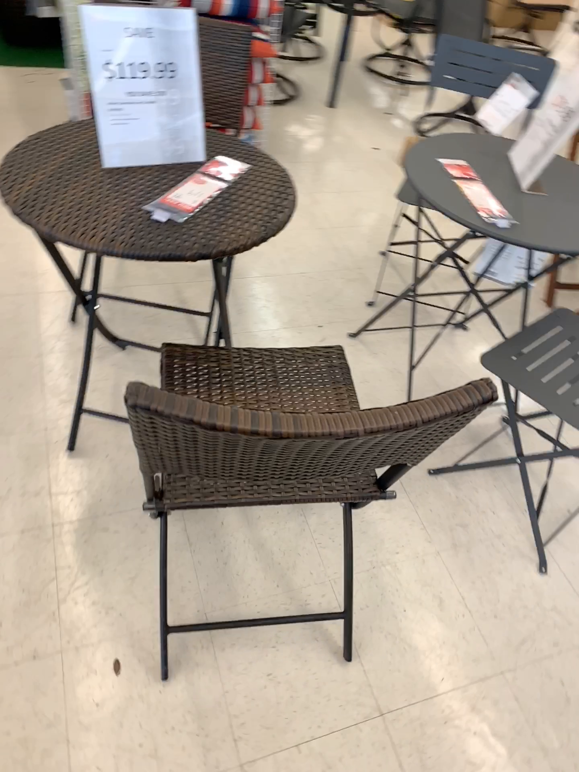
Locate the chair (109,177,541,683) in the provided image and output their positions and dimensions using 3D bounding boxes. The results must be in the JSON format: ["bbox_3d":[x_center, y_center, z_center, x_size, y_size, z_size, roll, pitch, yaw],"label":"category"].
[{"bbox_3d":[-0.033,0.117,1.076,0.480,0.766,0.512,0,46,-11],"label":"chair"}]
